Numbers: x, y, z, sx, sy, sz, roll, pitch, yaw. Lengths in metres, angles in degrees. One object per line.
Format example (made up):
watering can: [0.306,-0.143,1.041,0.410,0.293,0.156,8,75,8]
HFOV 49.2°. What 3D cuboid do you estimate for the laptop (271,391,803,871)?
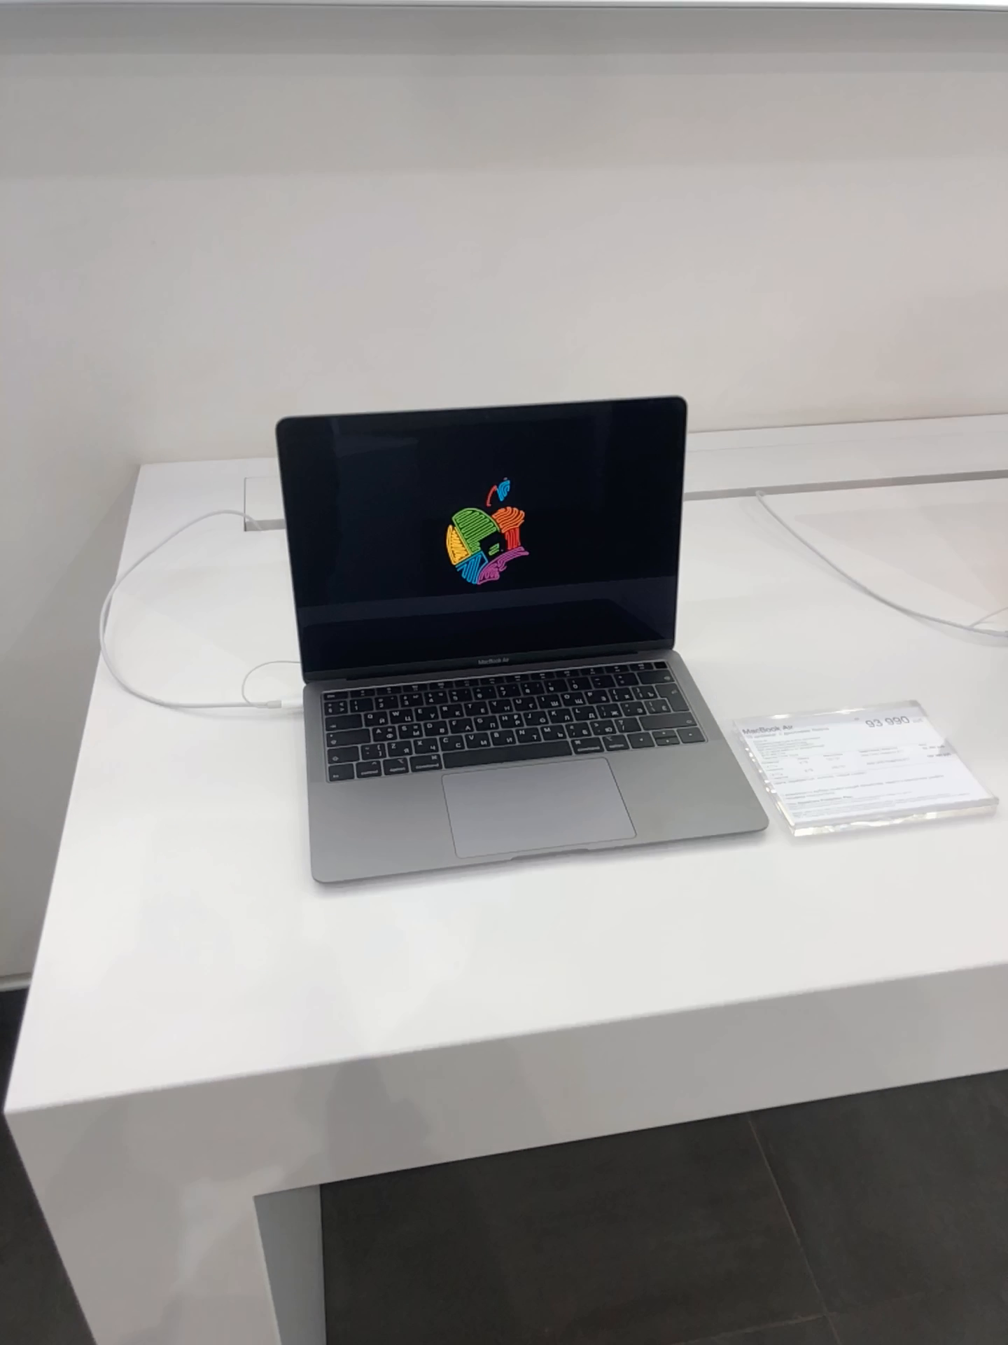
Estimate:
laptop: [0.001,-0.043,0.755,0.284,0.194,0.251,-6,36,-10]

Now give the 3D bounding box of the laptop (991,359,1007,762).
laptop: [0.592,-0.101,0.844,0.293,0.184,0.261,-4,34,-8]
